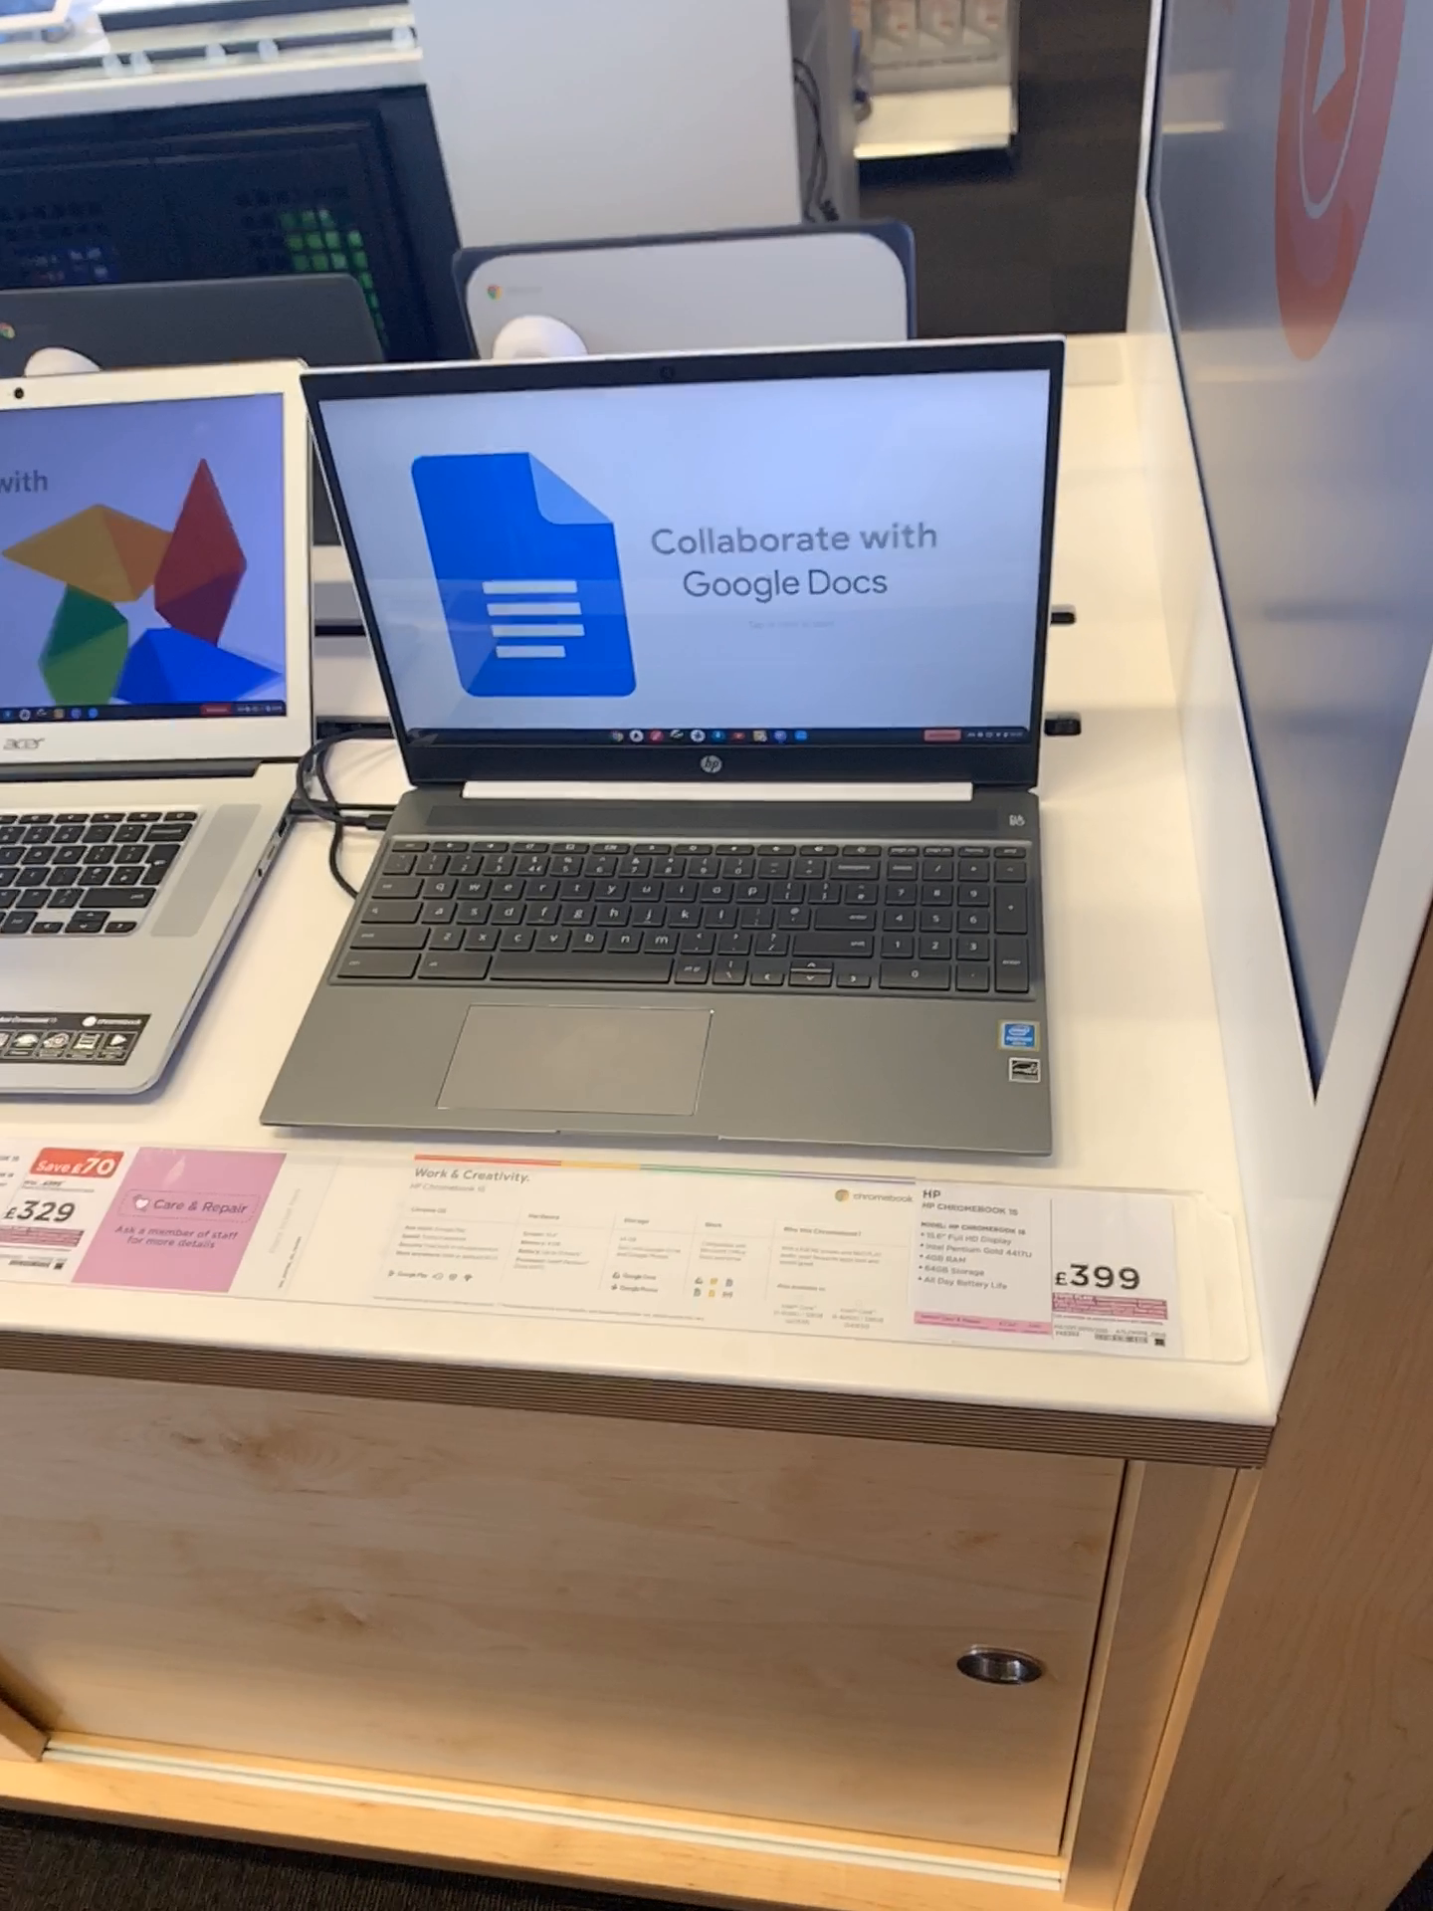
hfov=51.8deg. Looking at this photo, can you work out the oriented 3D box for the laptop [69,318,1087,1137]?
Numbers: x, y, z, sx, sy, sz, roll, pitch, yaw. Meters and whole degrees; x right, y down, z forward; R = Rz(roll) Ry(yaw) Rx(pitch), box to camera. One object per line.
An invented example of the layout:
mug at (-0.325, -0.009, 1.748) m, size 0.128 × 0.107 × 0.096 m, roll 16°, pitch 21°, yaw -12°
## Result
laptop at (-0.029, -0.104, 0.662) m, size 0.351 × 0.228 × 0.265 m, roll 1°, pitch 45°, yaw 10°
